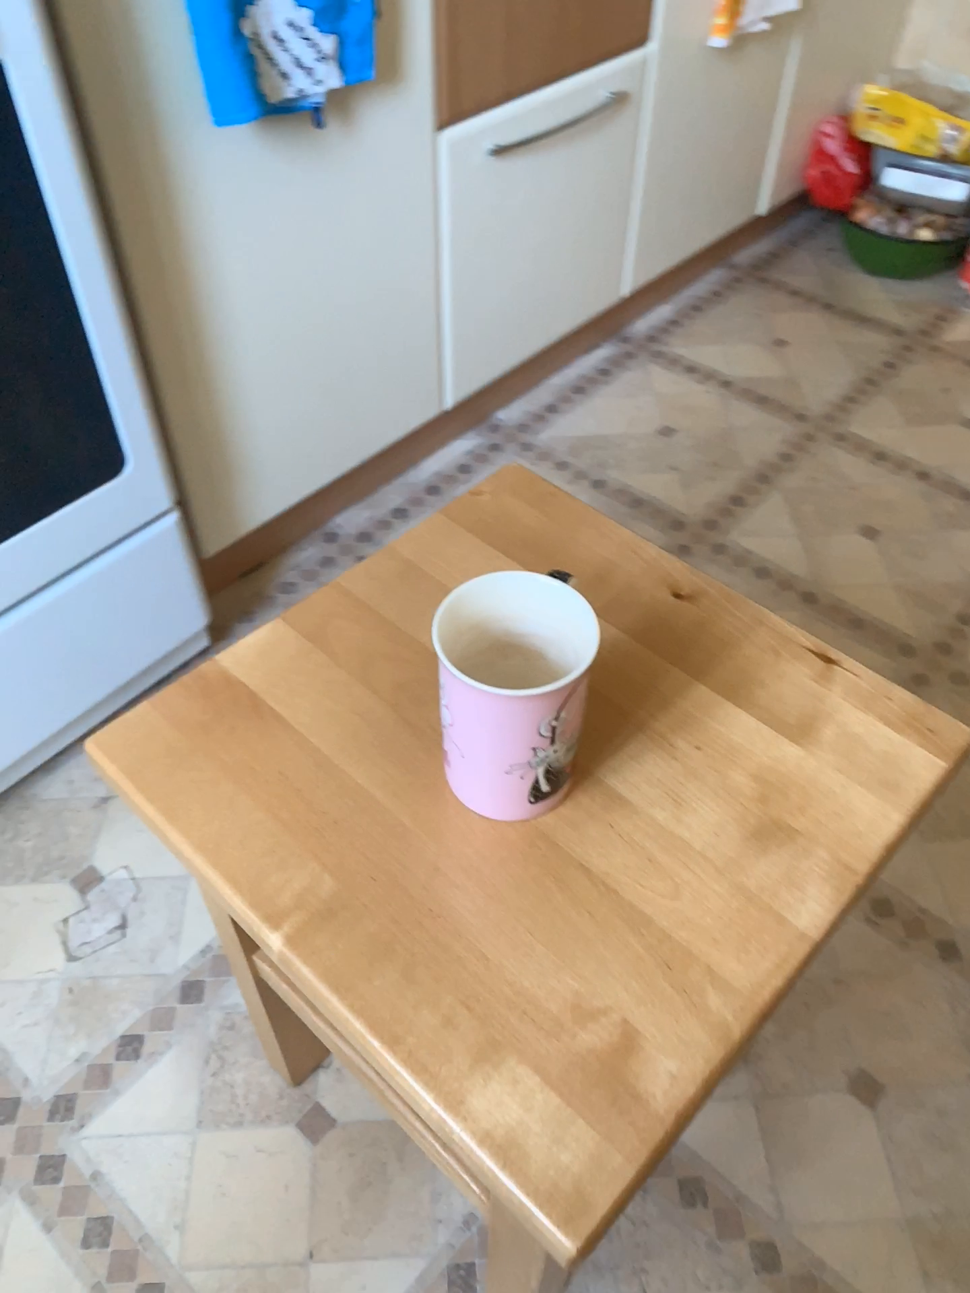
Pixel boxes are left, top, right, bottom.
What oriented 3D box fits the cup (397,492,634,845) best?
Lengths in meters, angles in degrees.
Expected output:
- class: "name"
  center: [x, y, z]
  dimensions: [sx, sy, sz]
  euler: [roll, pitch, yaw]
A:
- class: "cup"
  center: [0.017, 0.009, 0.476]
  dimensions: [0.080, 0.099, 0.121]
  euler: [11, 48, 9]
